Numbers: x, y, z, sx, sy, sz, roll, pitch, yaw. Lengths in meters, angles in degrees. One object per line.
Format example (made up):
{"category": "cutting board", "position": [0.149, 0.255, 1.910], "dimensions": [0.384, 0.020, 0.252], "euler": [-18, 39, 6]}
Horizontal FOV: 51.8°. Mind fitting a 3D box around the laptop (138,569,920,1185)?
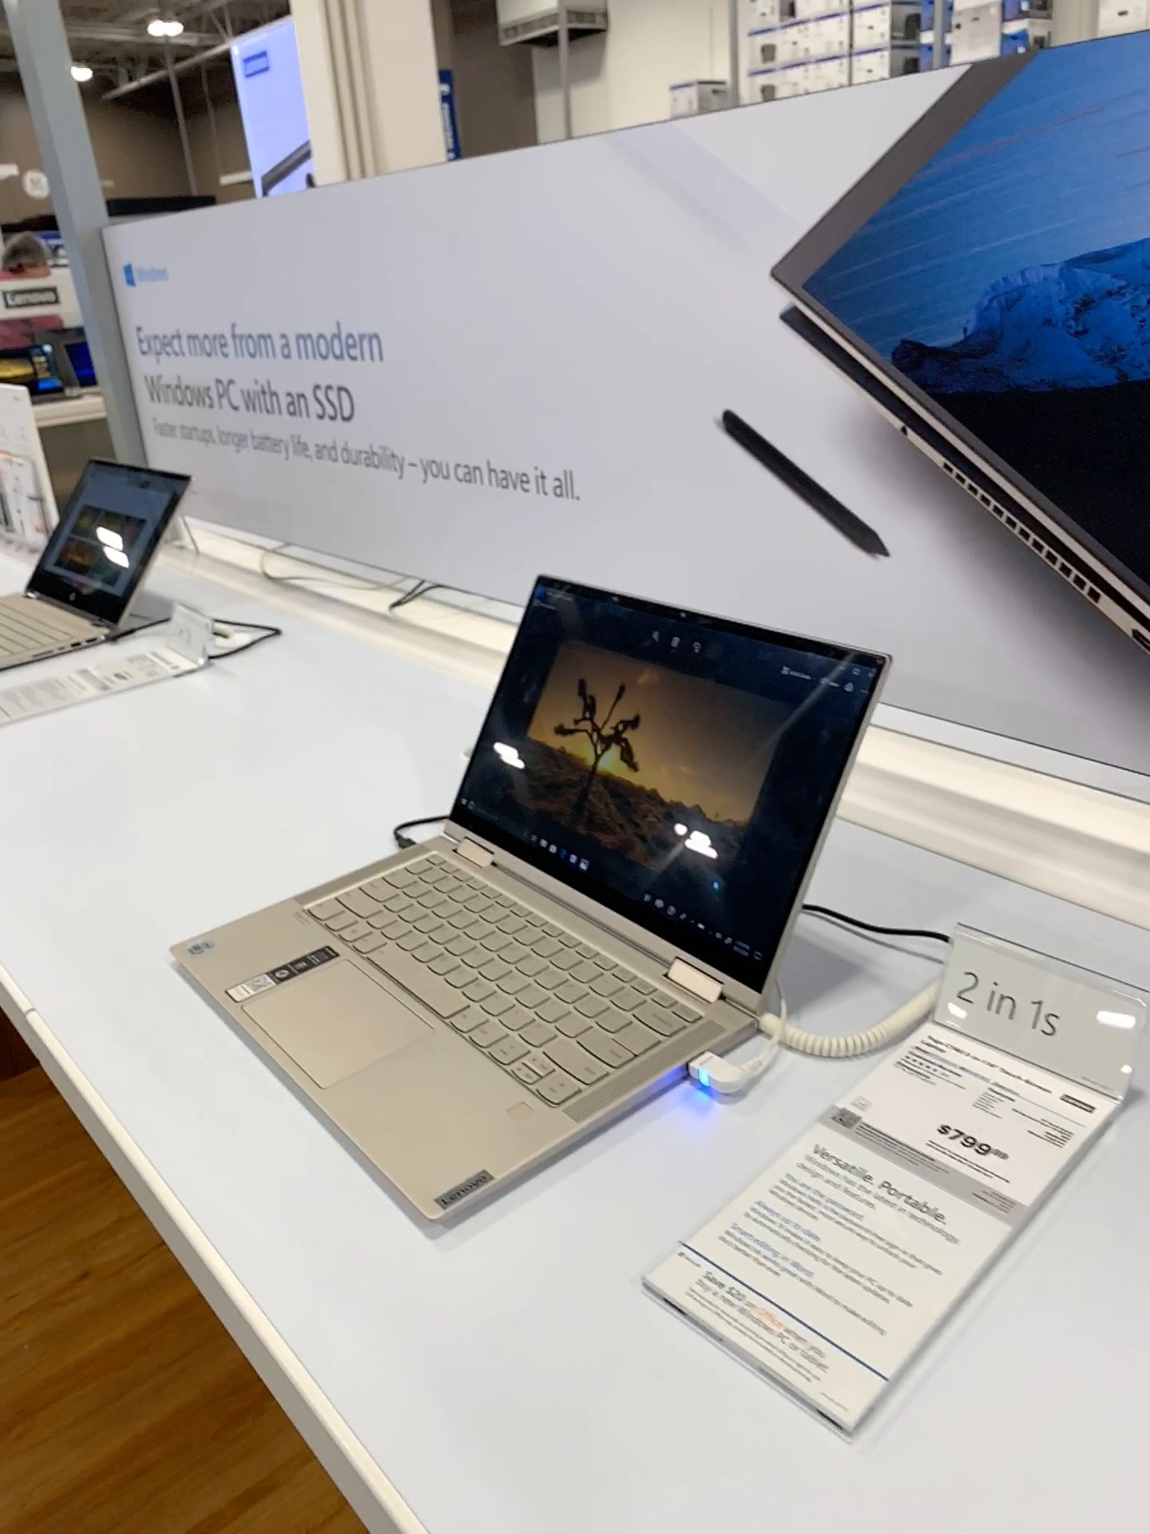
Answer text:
{"category": "laptop", "position": [-0.030, 0.022, 0.714], "dimensions": [0.329, 0.170, 0.310], "euler": [-22, 28, -32]}
